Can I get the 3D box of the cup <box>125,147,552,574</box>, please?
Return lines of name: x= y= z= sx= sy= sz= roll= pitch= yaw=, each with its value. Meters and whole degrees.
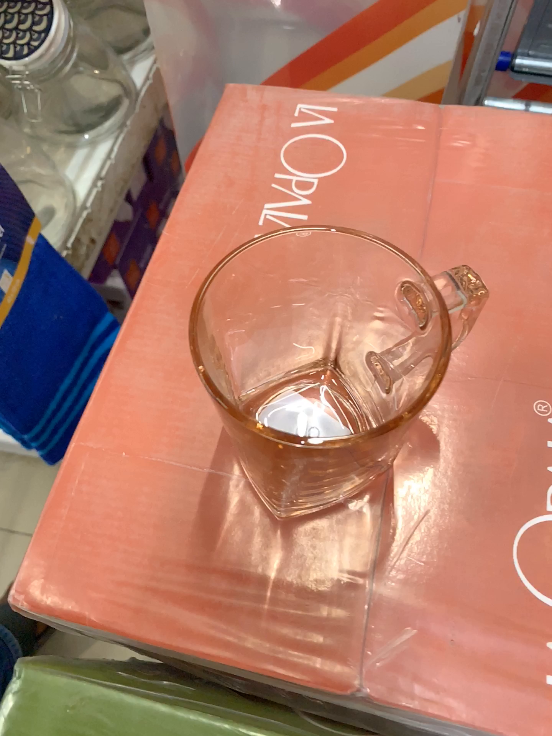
cup: x=0.019 y=0.005 z=0.209 sx=0.100 sy=0.110 sz=0.080 roll=-24 pitch=62 yaw=-10
